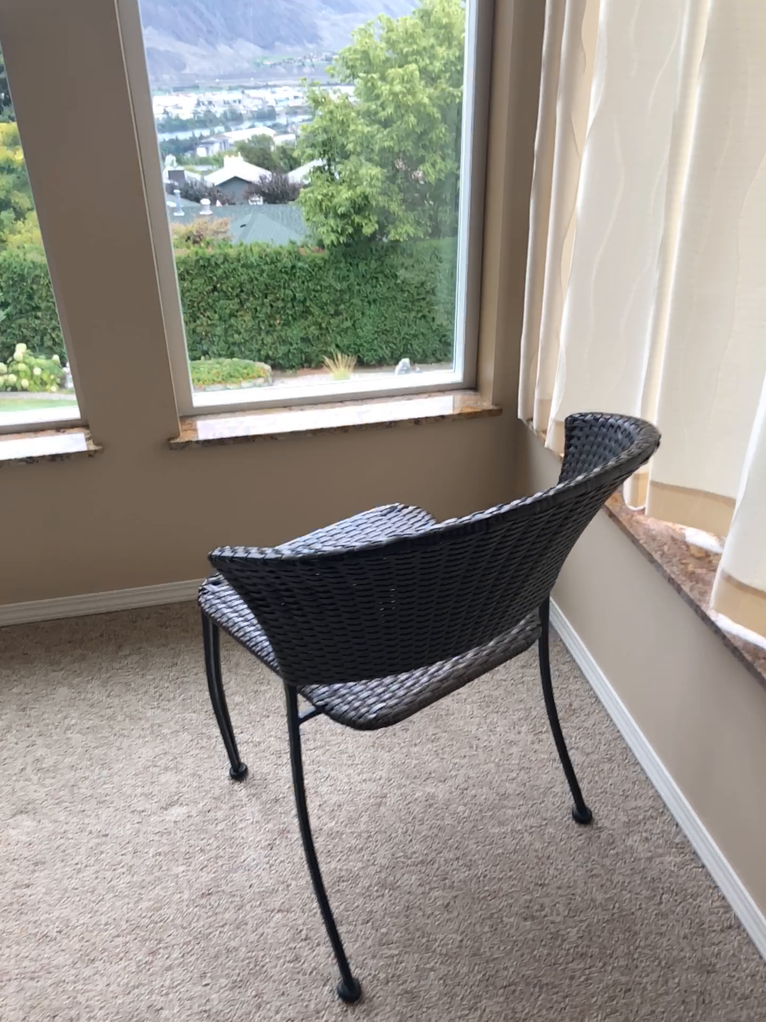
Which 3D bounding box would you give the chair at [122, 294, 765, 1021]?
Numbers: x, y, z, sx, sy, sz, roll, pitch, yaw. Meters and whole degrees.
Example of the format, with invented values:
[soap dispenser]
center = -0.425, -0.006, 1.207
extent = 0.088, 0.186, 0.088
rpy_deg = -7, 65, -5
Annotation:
[chair]
center = 0.057, 0.186, 1.244
extent = 0.560, 0.787, 0.612
rpy_deg = -20, 35, -29
